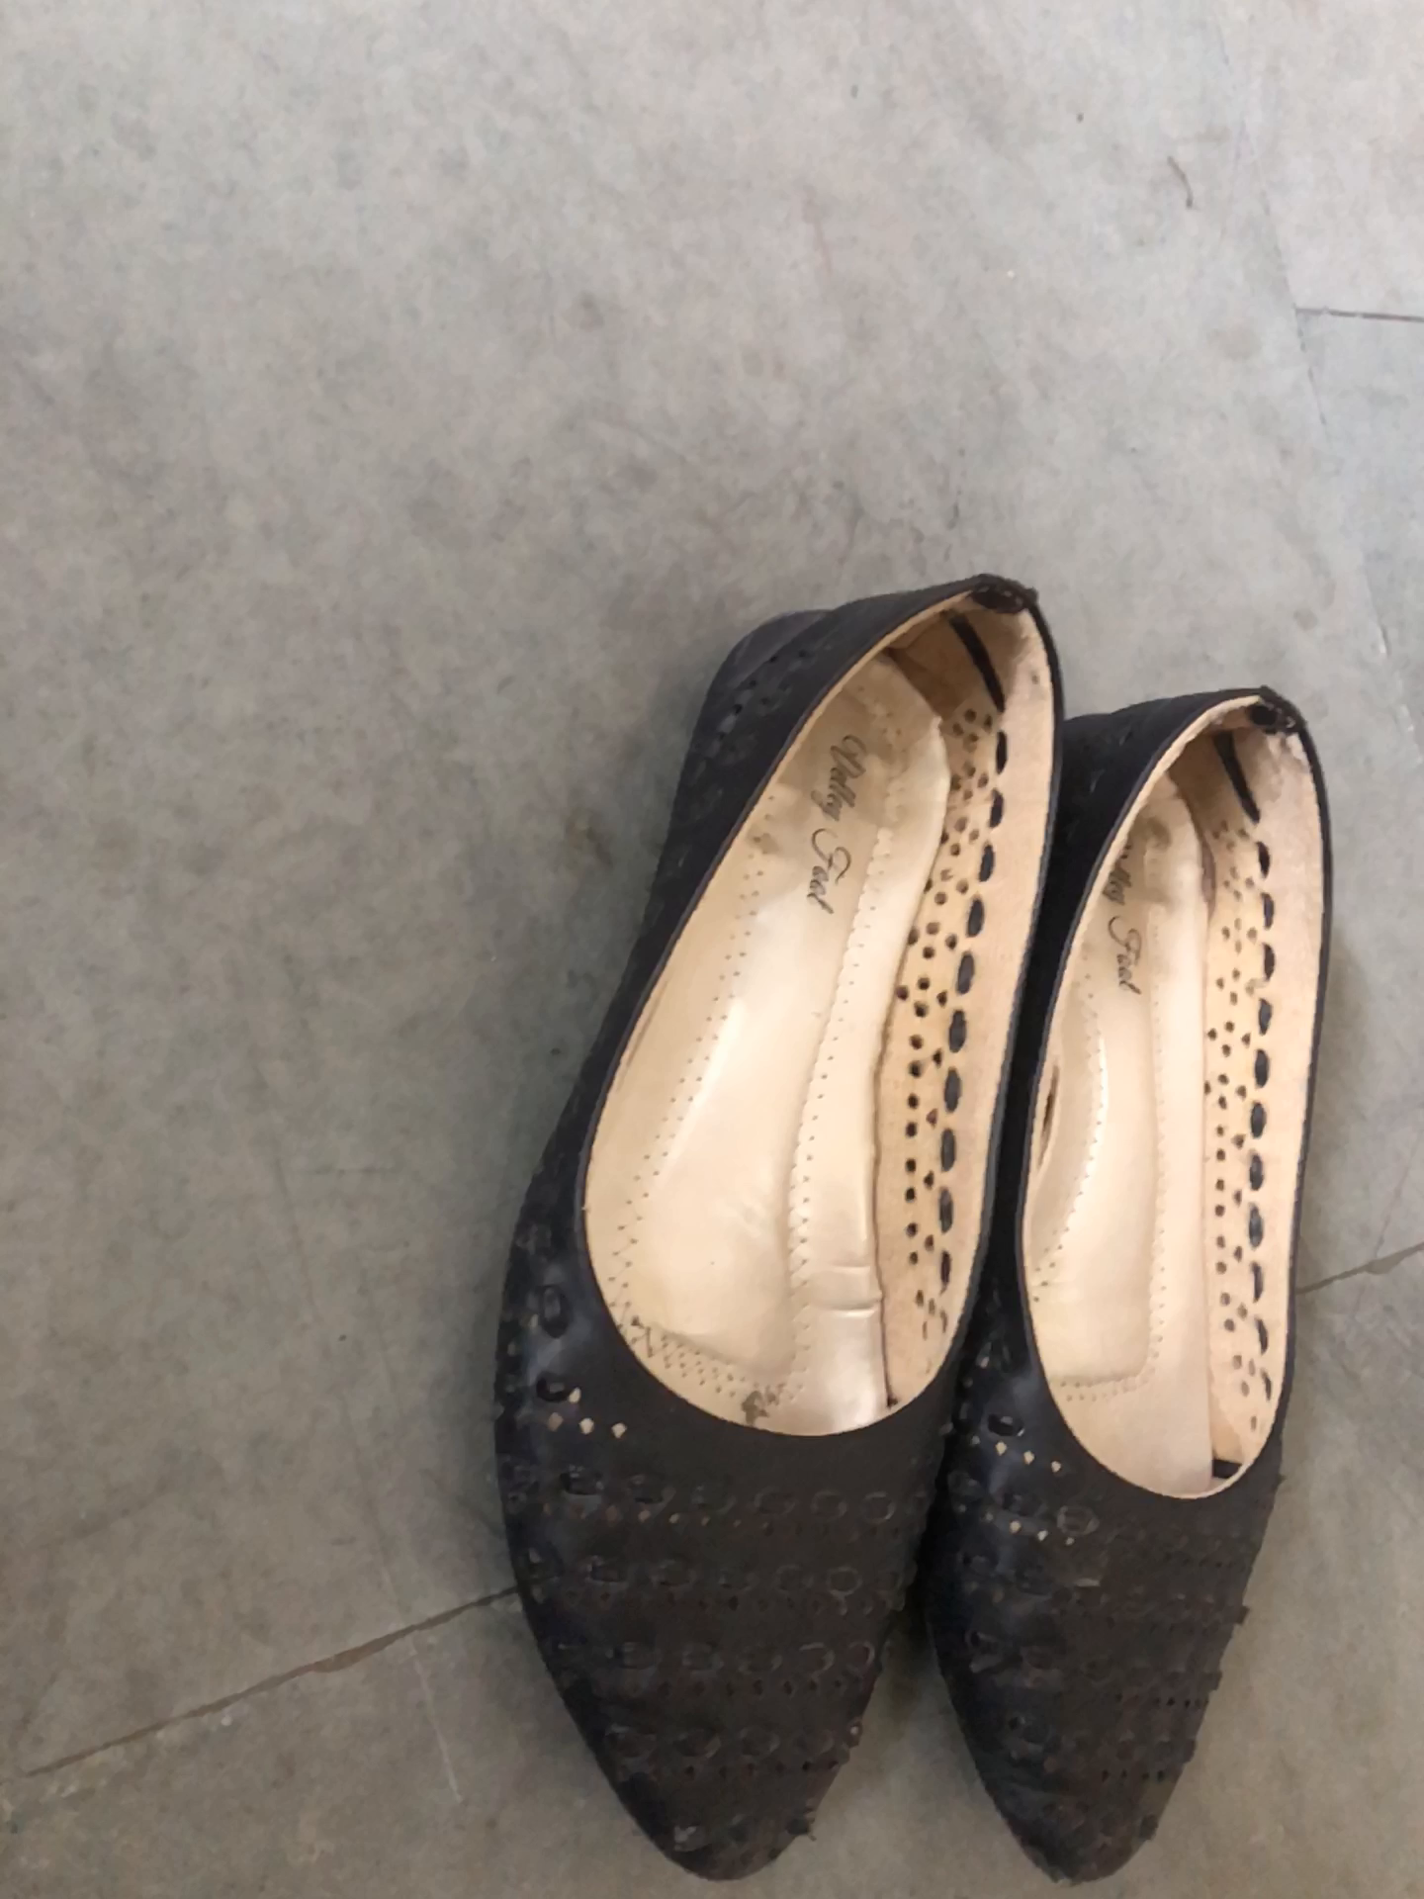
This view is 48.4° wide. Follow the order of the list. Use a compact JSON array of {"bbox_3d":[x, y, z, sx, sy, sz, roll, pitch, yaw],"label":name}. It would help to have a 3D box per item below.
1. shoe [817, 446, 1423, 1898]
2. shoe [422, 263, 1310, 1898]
[{"bbox_3d":[0.101,0.047,0.344,0.100,0.070,0.280,17,71,-26],"label":"shoe"},{"bbox_3d":[0.034,0.029,0.295,0.100,0.070,0.270,17,76,-26],"label":"shoe"}]
